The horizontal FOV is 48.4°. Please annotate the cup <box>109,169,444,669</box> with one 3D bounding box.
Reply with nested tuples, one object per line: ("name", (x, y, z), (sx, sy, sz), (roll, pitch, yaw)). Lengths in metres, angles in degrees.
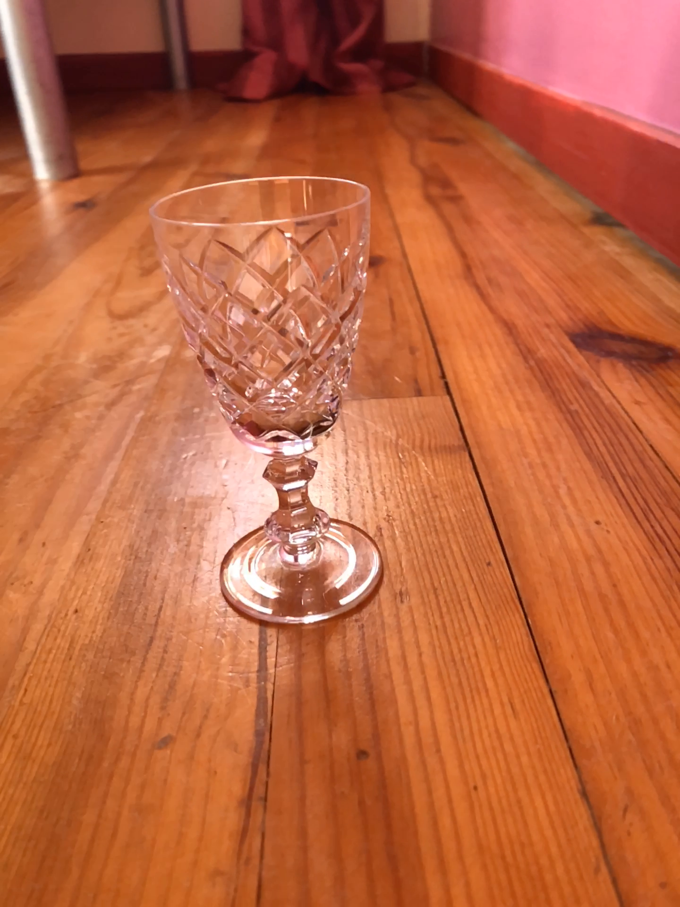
("cup", (-0.013, -0.013, 0.209), (0.060, 0.113, 0.056), (-3, 28, 2))
